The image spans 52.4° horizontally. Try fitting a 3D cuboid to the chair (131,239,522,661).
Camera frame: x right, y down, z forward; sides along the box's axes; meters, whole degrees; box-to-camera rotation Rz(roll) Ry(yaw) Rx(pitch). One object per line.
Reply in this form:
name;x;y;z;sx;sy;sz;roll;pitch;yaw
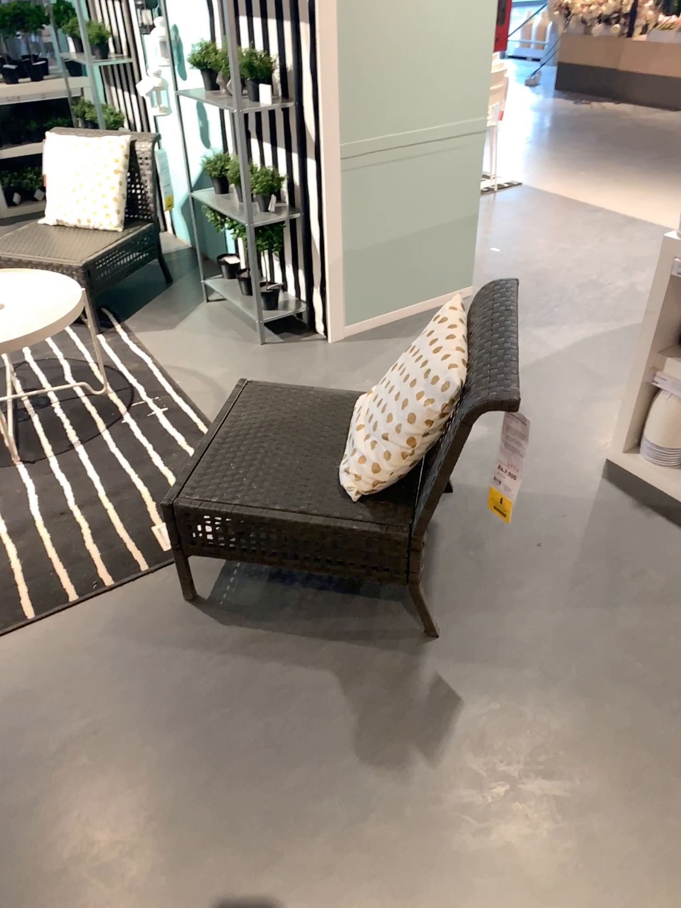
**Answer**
chair;0.032;-0.048;1.866;0.780;0.797;0.703;6;36;11
